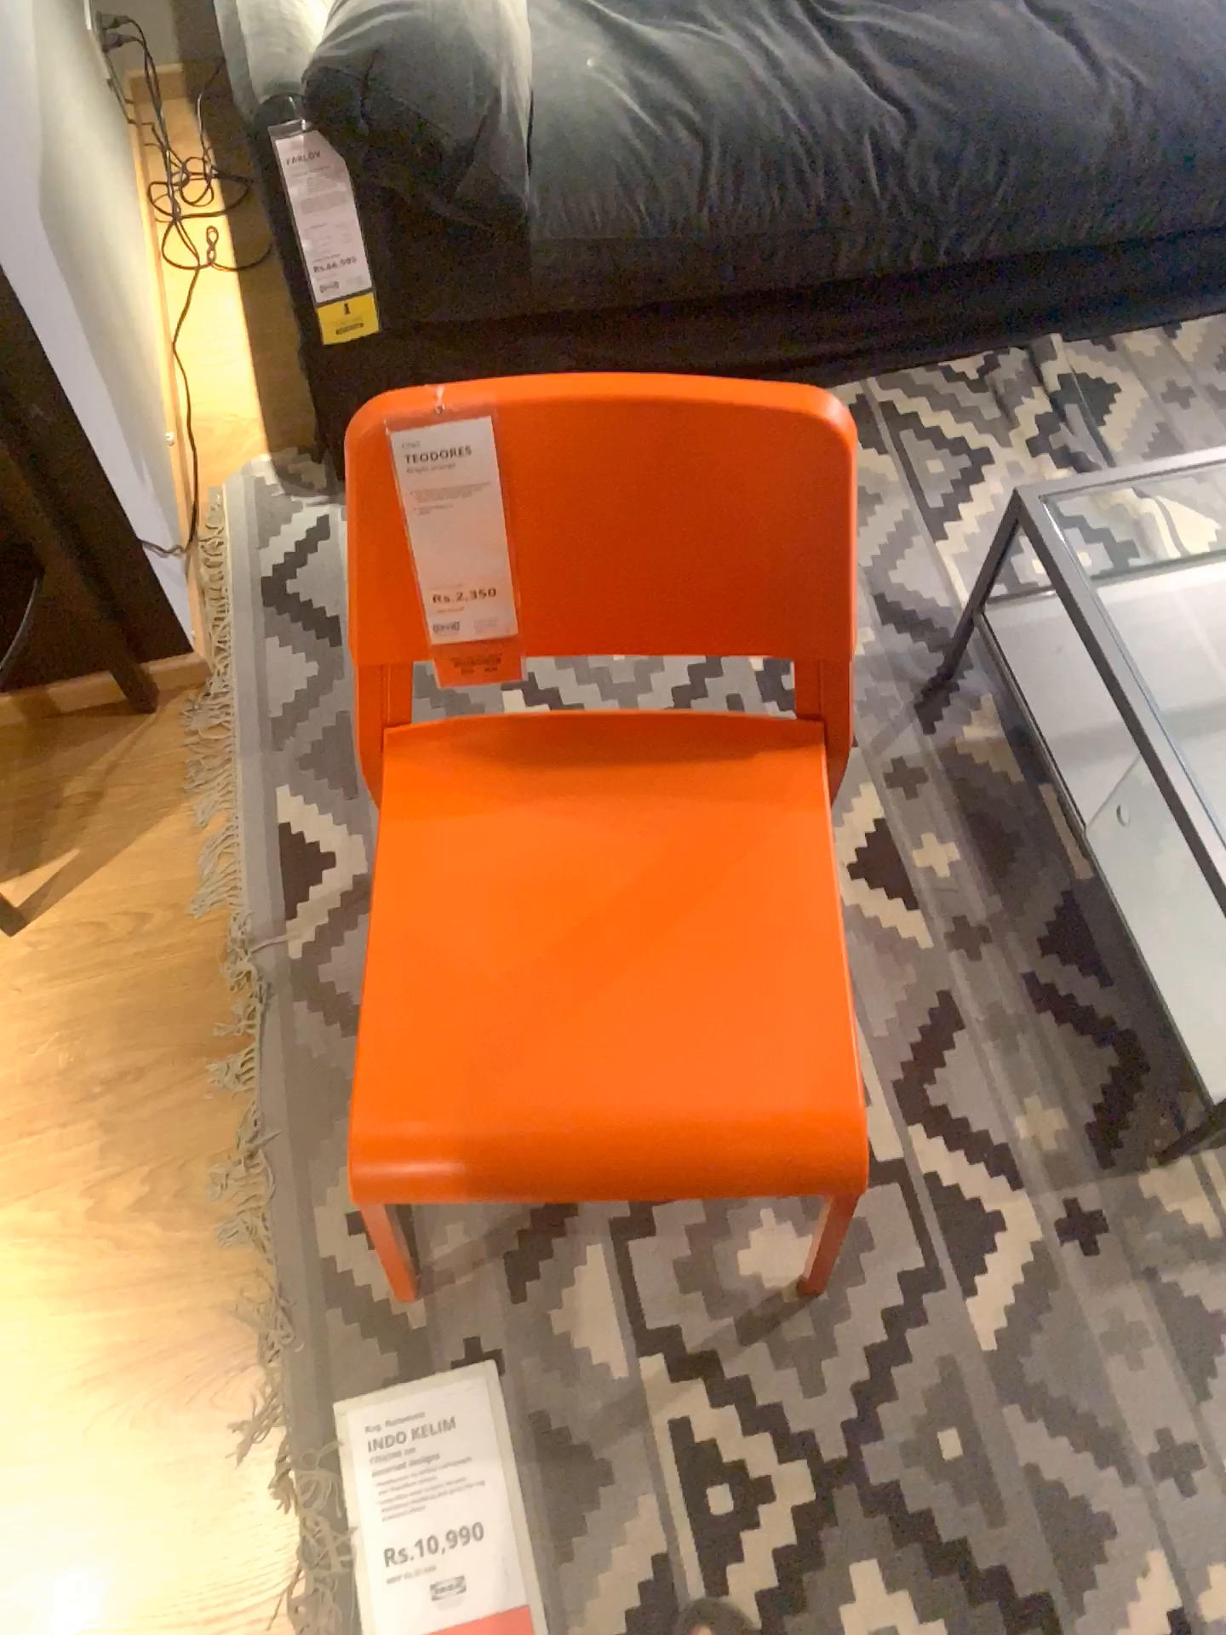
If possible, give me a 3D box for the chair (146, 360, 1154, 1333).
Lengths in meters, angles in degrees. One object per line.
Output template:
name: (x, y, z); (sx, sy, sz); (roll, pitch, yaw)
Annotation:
chair: (0.013, 0.096, 1.100); (0.520, 0.729, 0.581); (-1, 62, -1)
